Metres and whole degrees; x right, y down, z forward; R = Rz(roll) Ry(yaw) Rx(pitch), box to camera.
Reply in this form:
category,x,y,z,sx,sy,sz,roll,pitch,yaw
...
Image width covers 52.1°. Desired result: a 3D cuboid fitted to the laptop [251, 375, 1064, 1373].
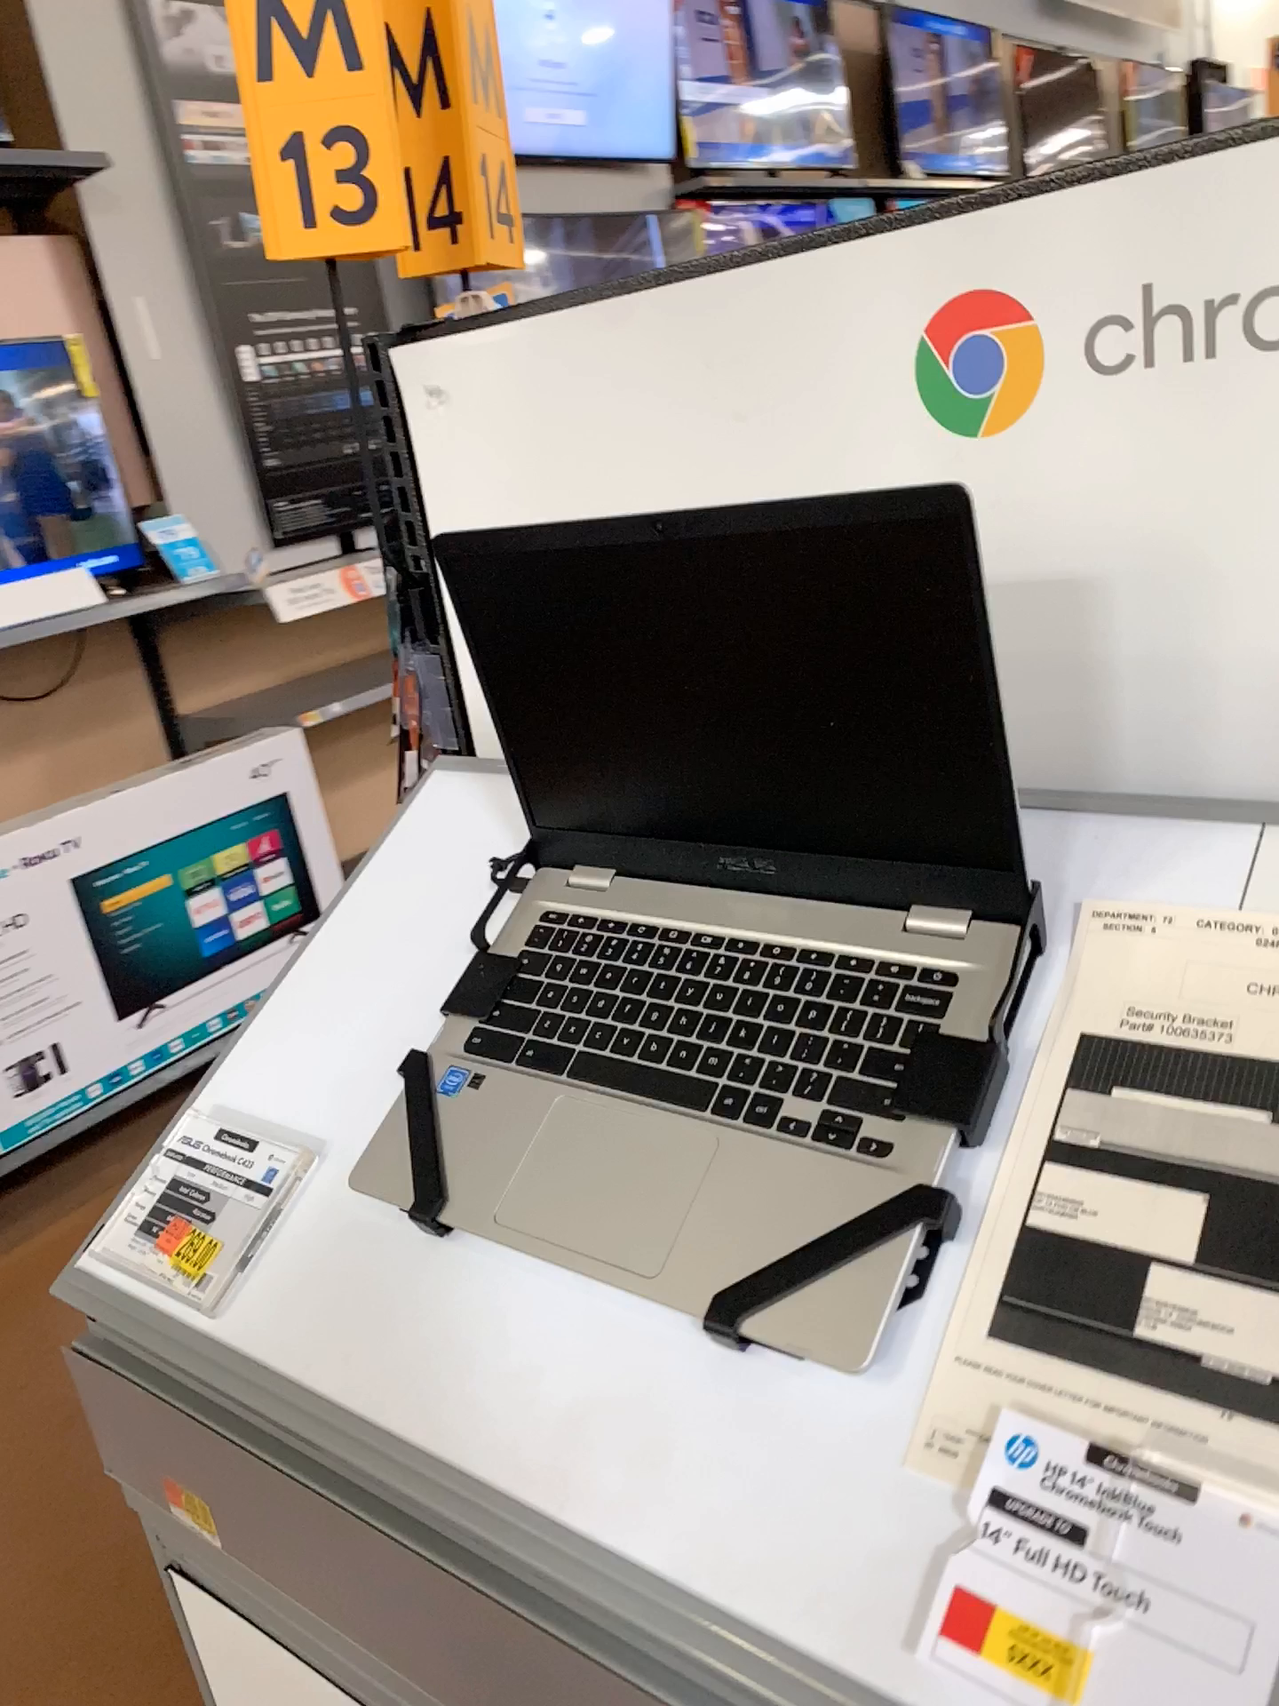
category,x,y,z,sx,sy,sz,roll,pitch,yaw
laptop,0.012,-0.019,0.651,0.309,0.196,0.293,6,44,37
